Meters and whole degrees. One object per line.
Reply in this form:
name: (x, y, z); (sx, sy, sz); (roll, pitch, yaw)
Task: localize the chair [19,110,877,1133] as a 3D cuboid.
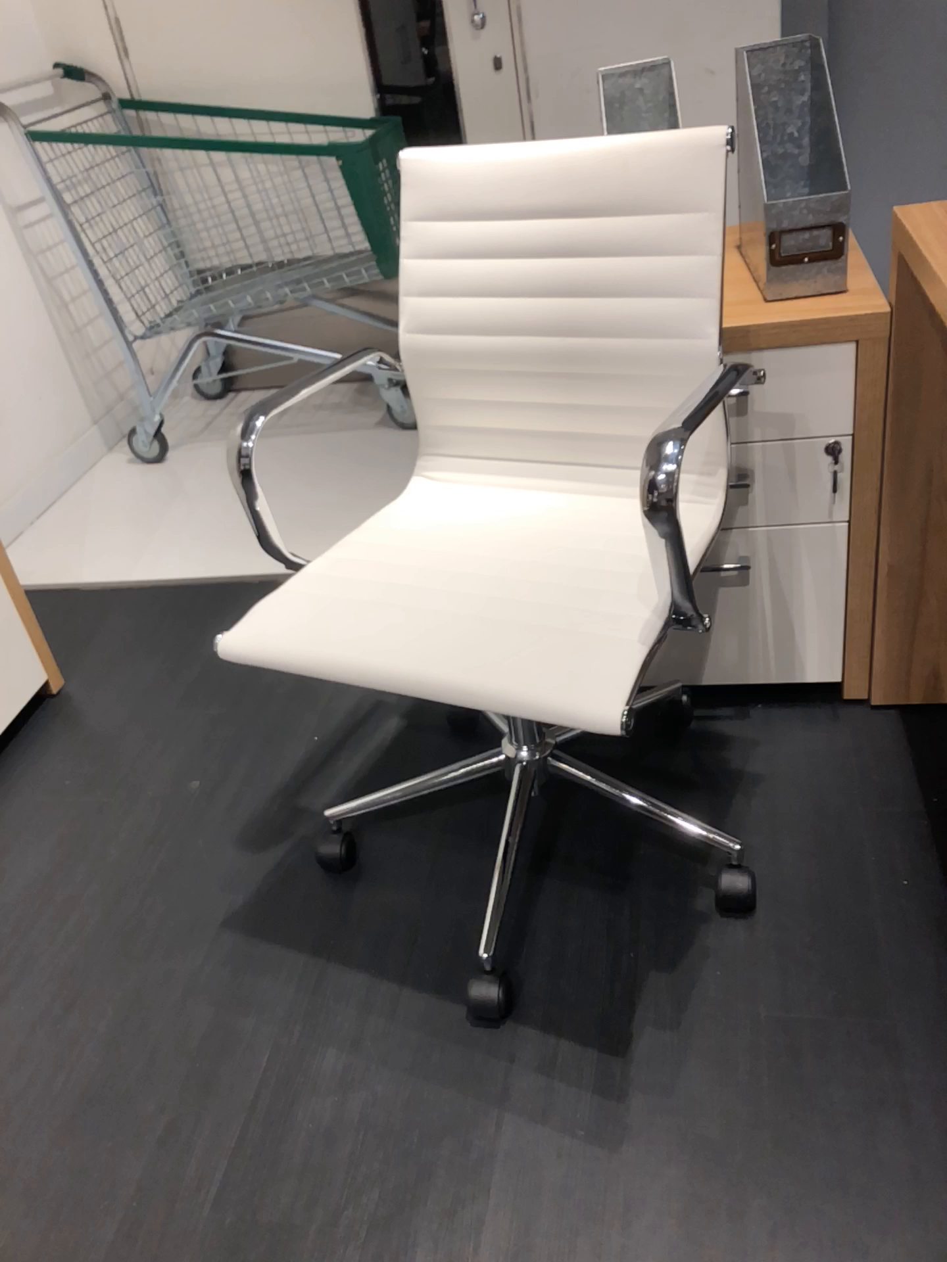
chair: (0.090, -0.068, 1.386); (0.651, 0.953, 0.764); (10, 37, 29)
